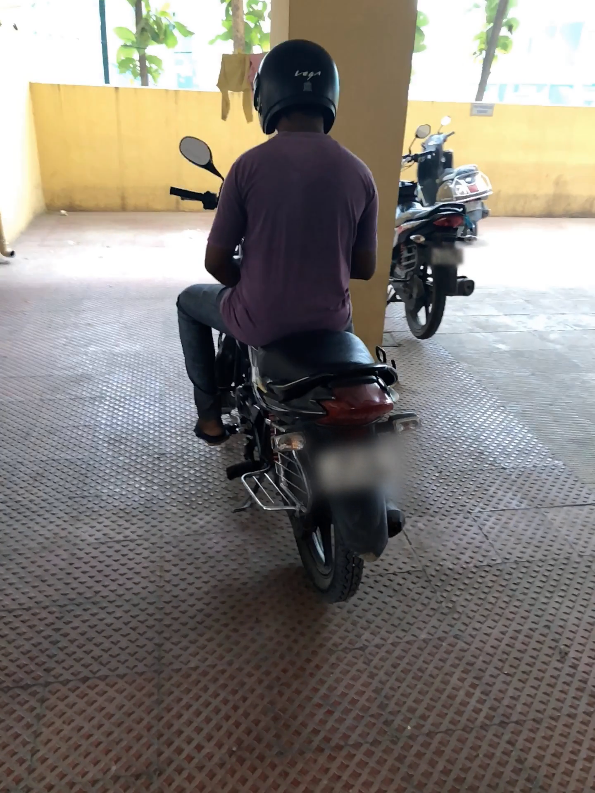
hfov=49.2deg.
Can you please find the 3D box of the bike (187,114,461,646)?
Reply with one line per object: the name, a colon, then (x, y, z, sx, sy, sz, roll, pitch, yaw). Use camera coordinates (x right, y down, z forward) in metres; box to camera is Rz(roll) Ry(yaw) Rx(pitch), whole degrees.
bike: (-0.065, -0.264, 2.349, 0.631, 1.063, 1.655, -2, 31, -9)
